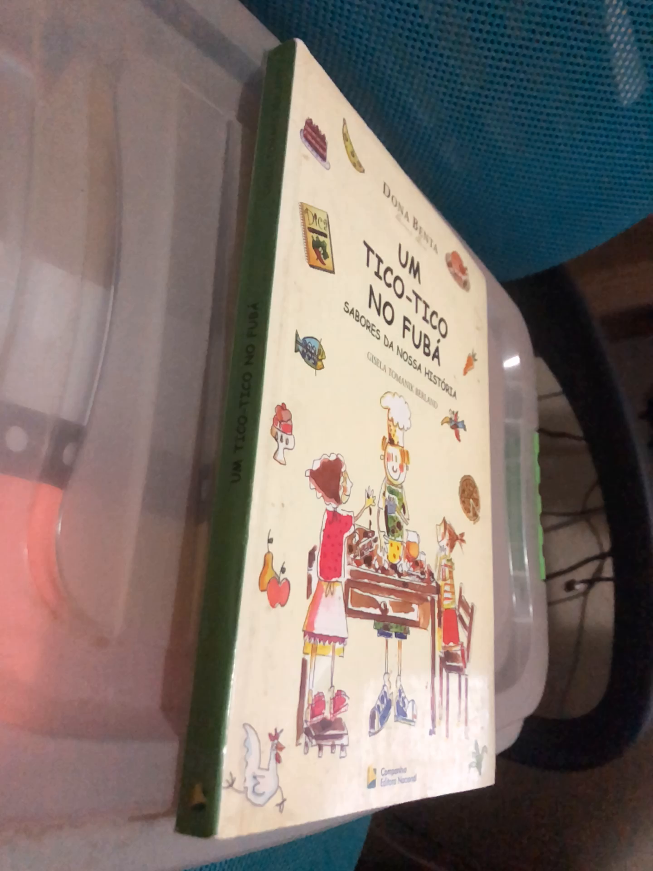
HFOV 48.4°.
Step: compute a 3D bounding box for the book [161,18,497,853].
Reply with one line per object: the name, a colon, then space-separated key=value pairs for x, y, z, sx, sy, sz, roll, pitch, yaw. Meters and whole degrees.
book: x=0.024 y=0.006 z=0.266 sx=0.172 sy=0.020 sz=0.232 roll=29 pitch=60 yaw=-53
